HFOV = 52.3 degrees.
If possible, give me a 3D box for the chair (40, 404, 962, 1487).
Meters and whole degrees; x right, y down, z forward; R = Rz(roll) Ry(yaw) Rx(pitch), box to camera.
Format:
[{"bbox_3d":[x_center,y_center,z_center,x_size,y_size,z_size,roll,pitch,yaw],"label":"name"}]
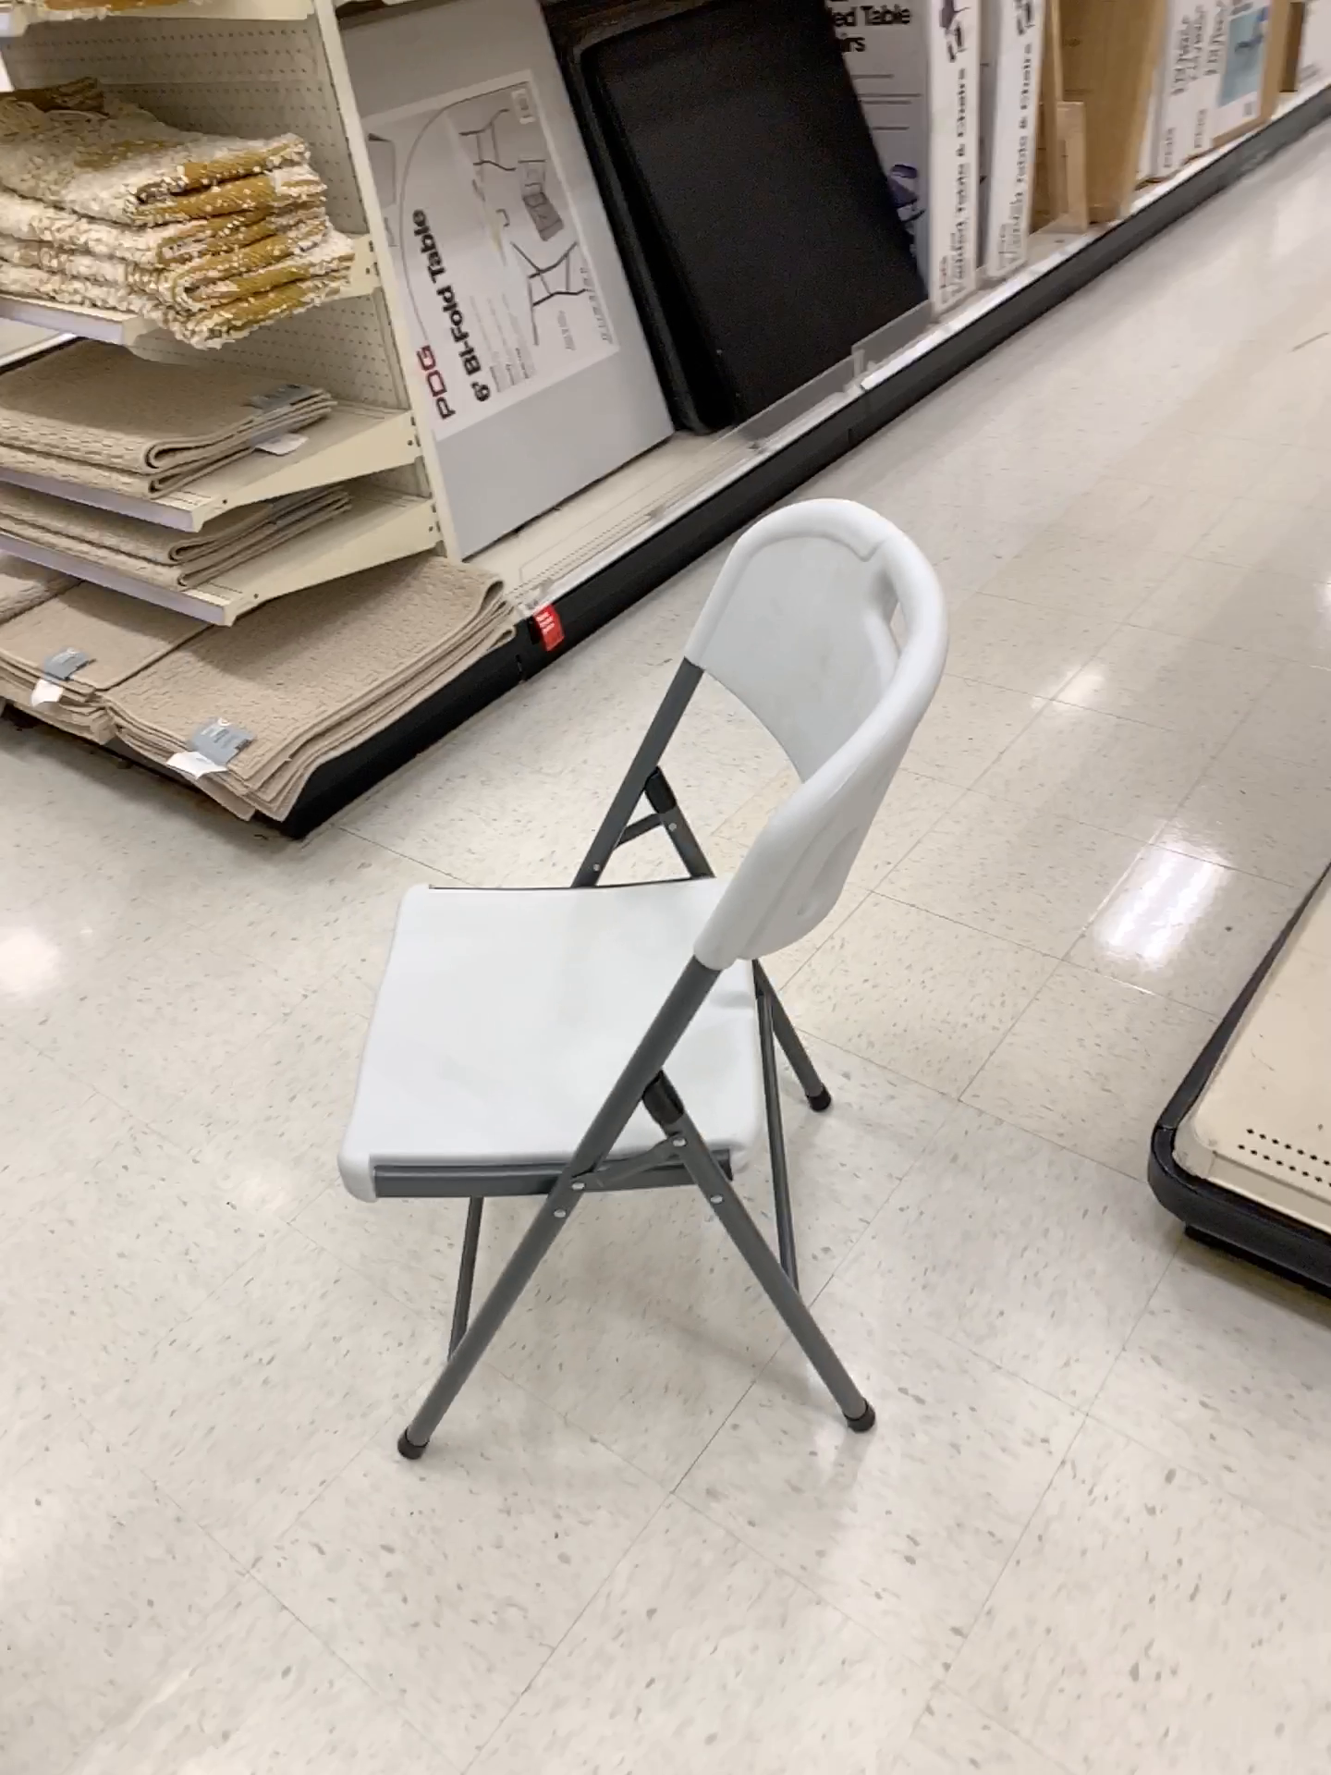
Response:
[{"bbox_3d":[-0.060,0.086,1.290,0.570,0.846,0.523,-6,38,4],"label":"chair"}]
